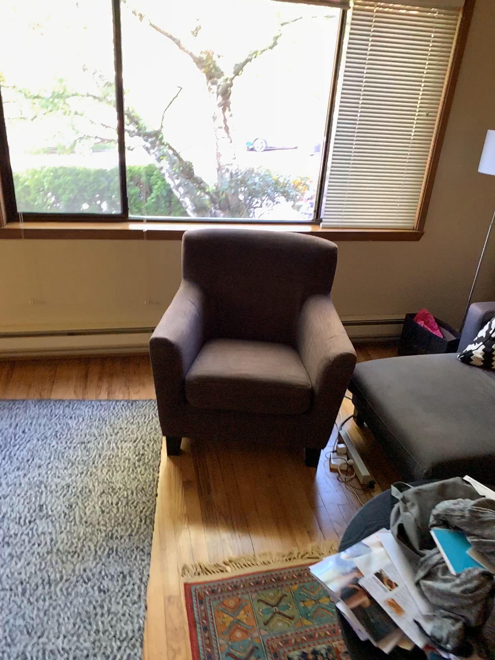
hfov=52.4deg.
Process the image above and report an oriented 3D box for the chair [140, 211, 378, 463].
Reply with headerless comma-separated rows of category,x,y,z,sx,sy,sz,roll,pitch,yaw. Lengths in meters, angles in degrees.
chair,0.021,-0.013,2.391,0.880,0.876,0.804,4,24,-1
